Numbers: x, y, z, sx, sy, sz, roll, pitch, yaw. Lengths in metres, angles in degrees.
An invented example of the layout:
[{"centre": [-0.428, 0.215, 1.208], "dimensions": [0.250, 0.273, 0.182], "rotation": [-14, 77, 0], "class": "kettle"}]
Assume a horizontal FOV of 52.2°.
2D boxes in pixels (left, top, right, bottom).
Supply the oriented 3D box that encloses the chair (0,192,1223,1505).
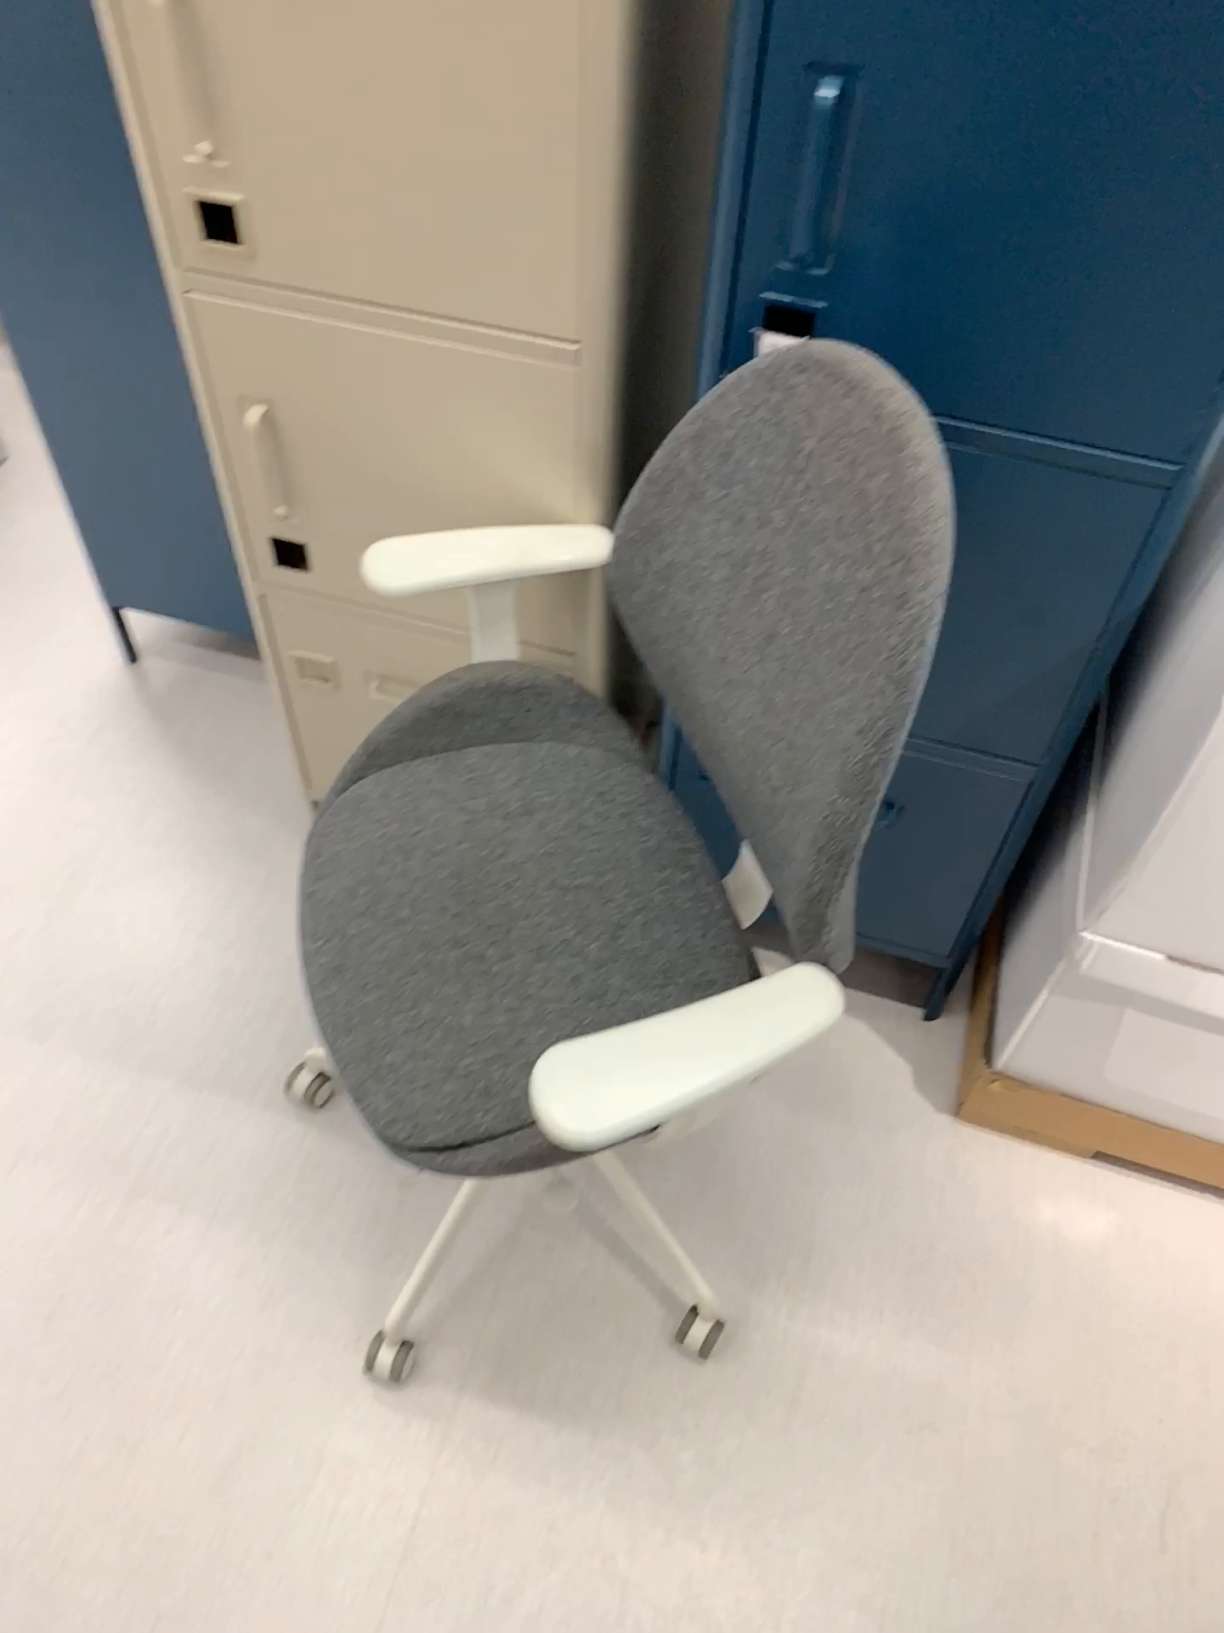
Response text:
[{"centre": [-0.061, 0.099, 1.189], "dimensions": [0.670, 0.997, 0.652], "rotation": [-13, 54, -13], "class": "chair"}]
